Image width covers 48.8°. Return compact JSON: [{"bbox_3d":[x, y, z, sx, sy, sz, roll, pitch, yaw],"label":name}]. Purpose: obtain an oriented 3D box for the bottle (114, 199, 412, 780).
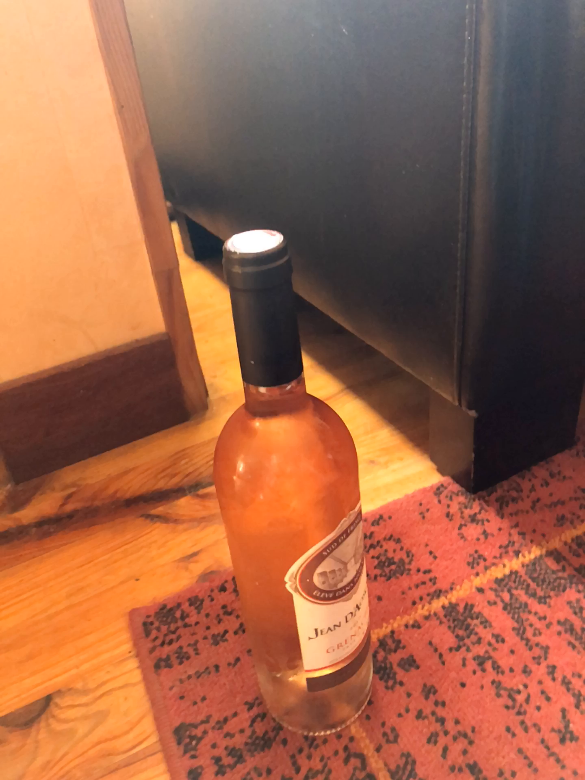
[{"bbox_3d":[0.006,0.070,0.343,0.080,0.308,0.091,20,42,34],"label":"bottle"}]
